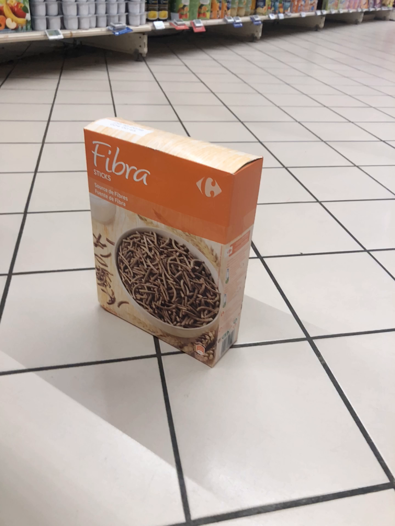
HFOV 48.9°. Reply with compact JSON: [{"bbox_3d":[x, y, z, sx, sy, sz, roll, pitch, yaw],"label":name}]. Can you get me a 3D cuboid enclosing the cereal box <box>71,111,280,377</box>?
[{"bbox_3d":[-0.034,-0.024,0.495,0.200,0.238,0.081,24,38,27],"label":"cereal box"}]
